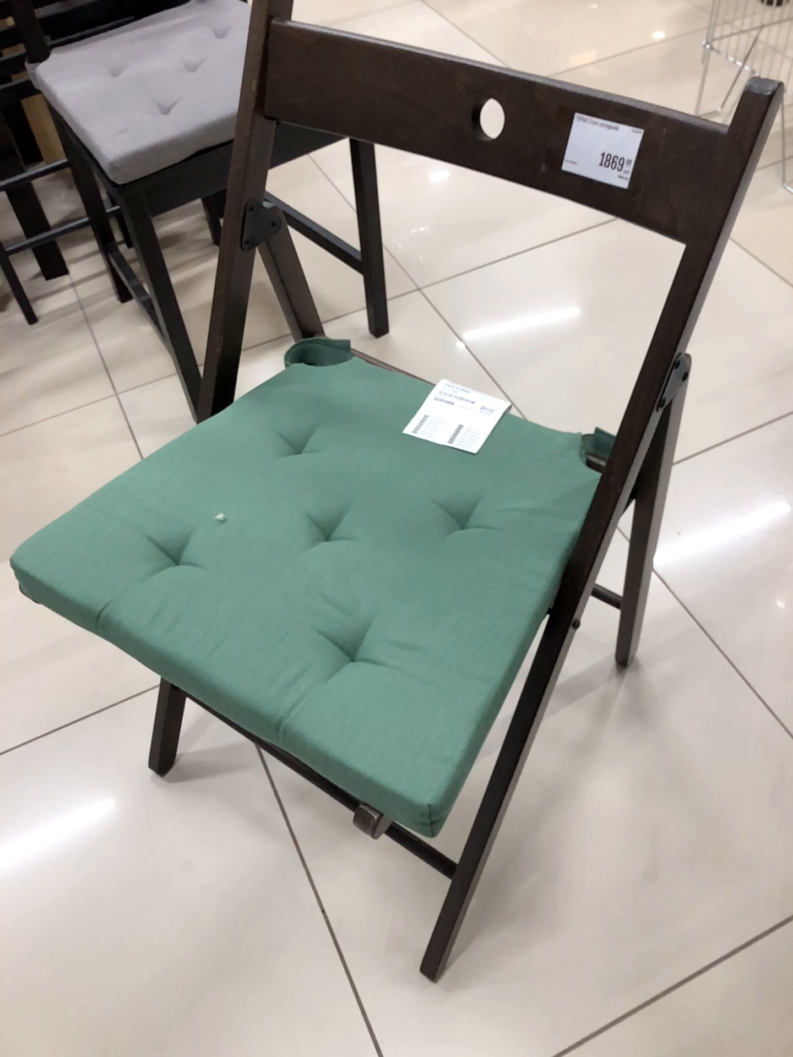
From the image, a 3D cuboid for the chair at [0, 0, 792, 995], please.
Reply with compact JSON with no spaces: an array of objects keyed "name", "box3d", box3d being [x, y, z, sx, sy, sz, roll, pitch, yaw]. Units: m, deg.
[{"name":"chair","box3d":[-0.023,-0.010,0.782,0.441,0.686,0.482,26,58,24]}]
